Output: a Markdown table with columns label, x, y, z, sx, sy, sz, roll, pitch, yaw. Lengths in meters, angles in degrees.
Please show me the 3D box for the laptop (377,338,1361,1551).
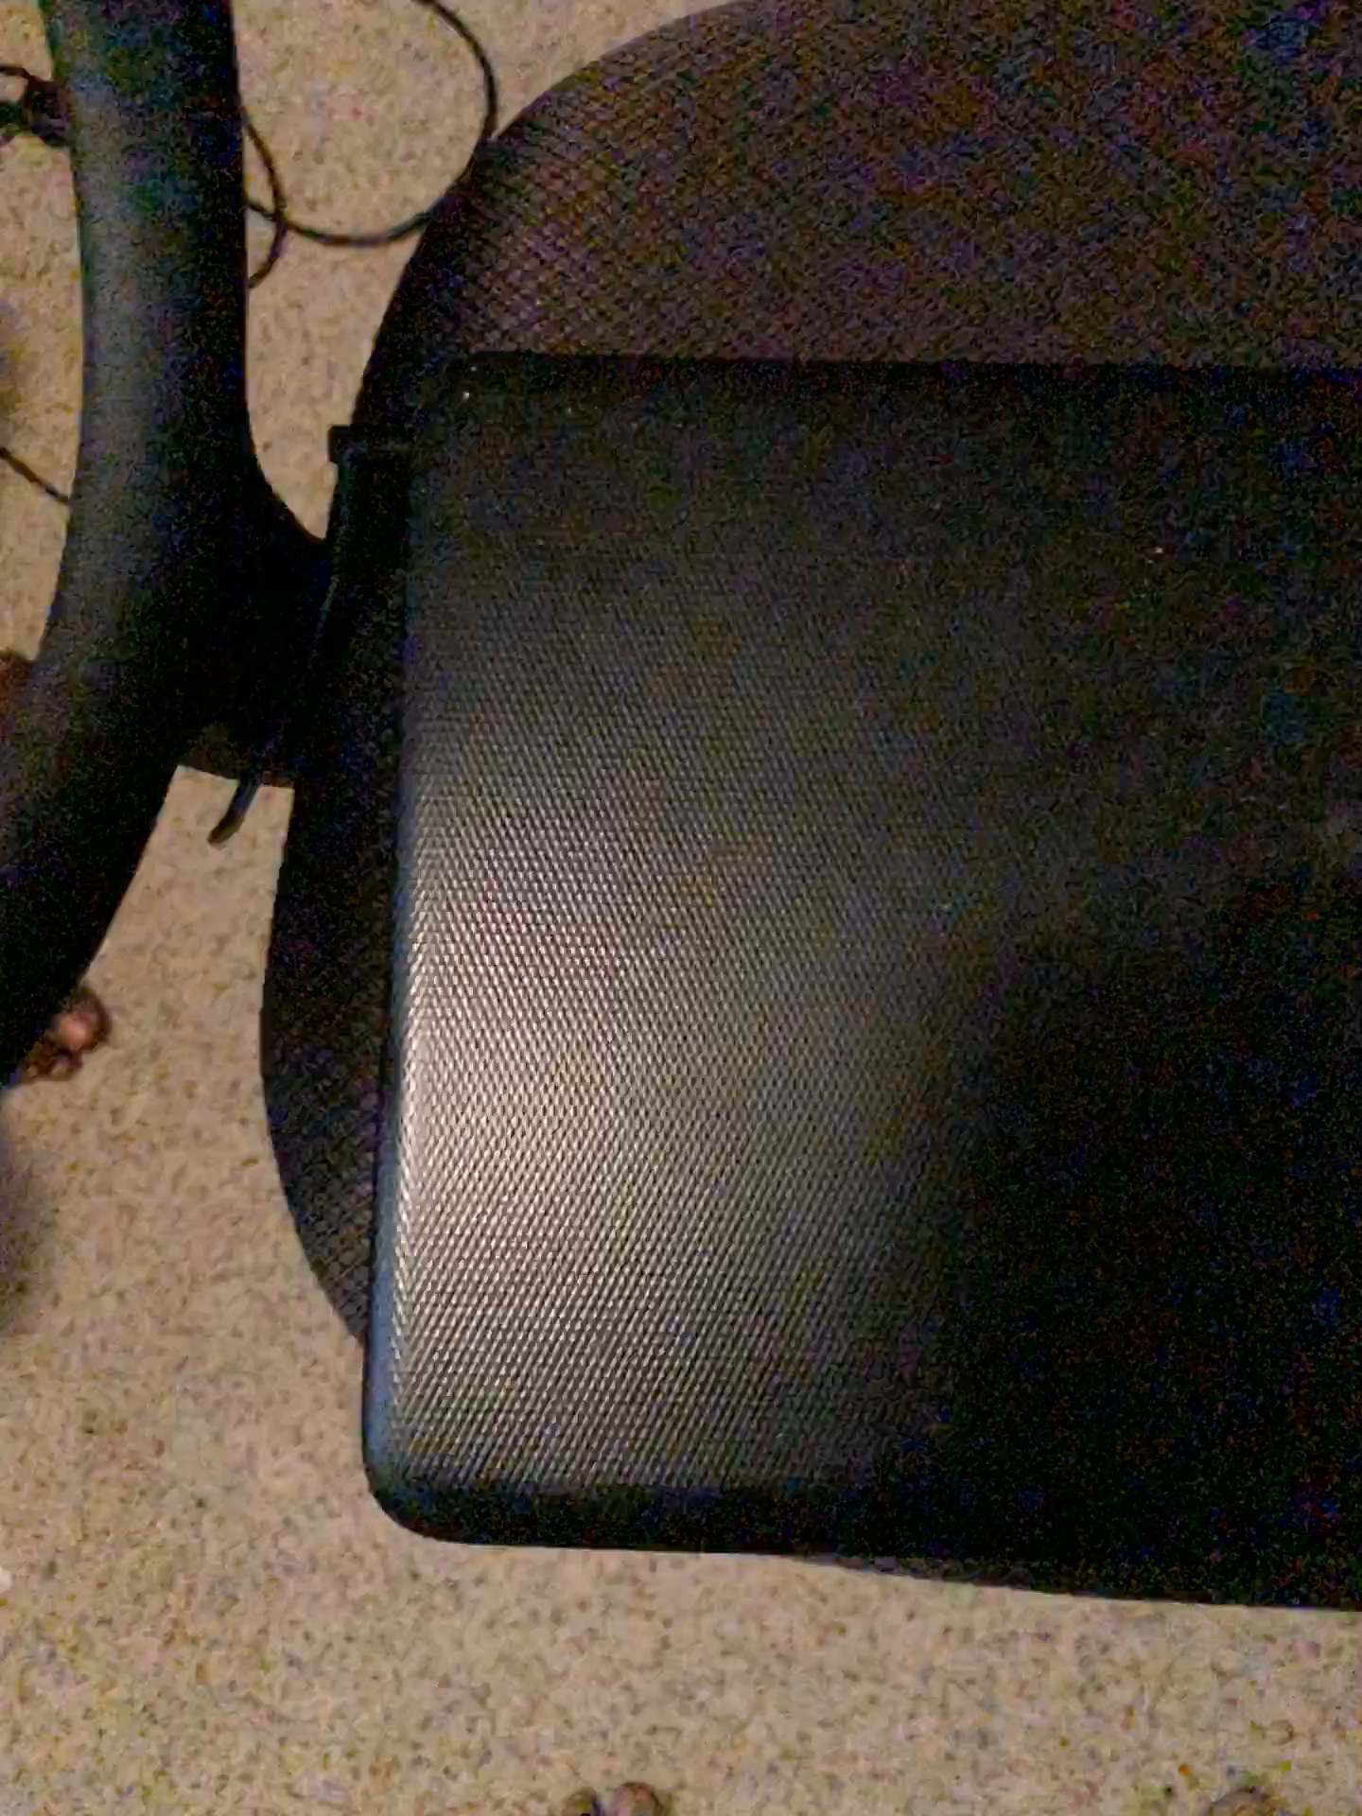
| label | x | y | z | sx | sy | sz | roll | pitch | yaw |
| --- | --- | --- | --- | --- | --- | --- | --- | --- | --- |
| laptop | 0.133 | 0.009 | 0.305 | 0.378 | 0.018 | 0.244 | 2 | 85 | -3 |
